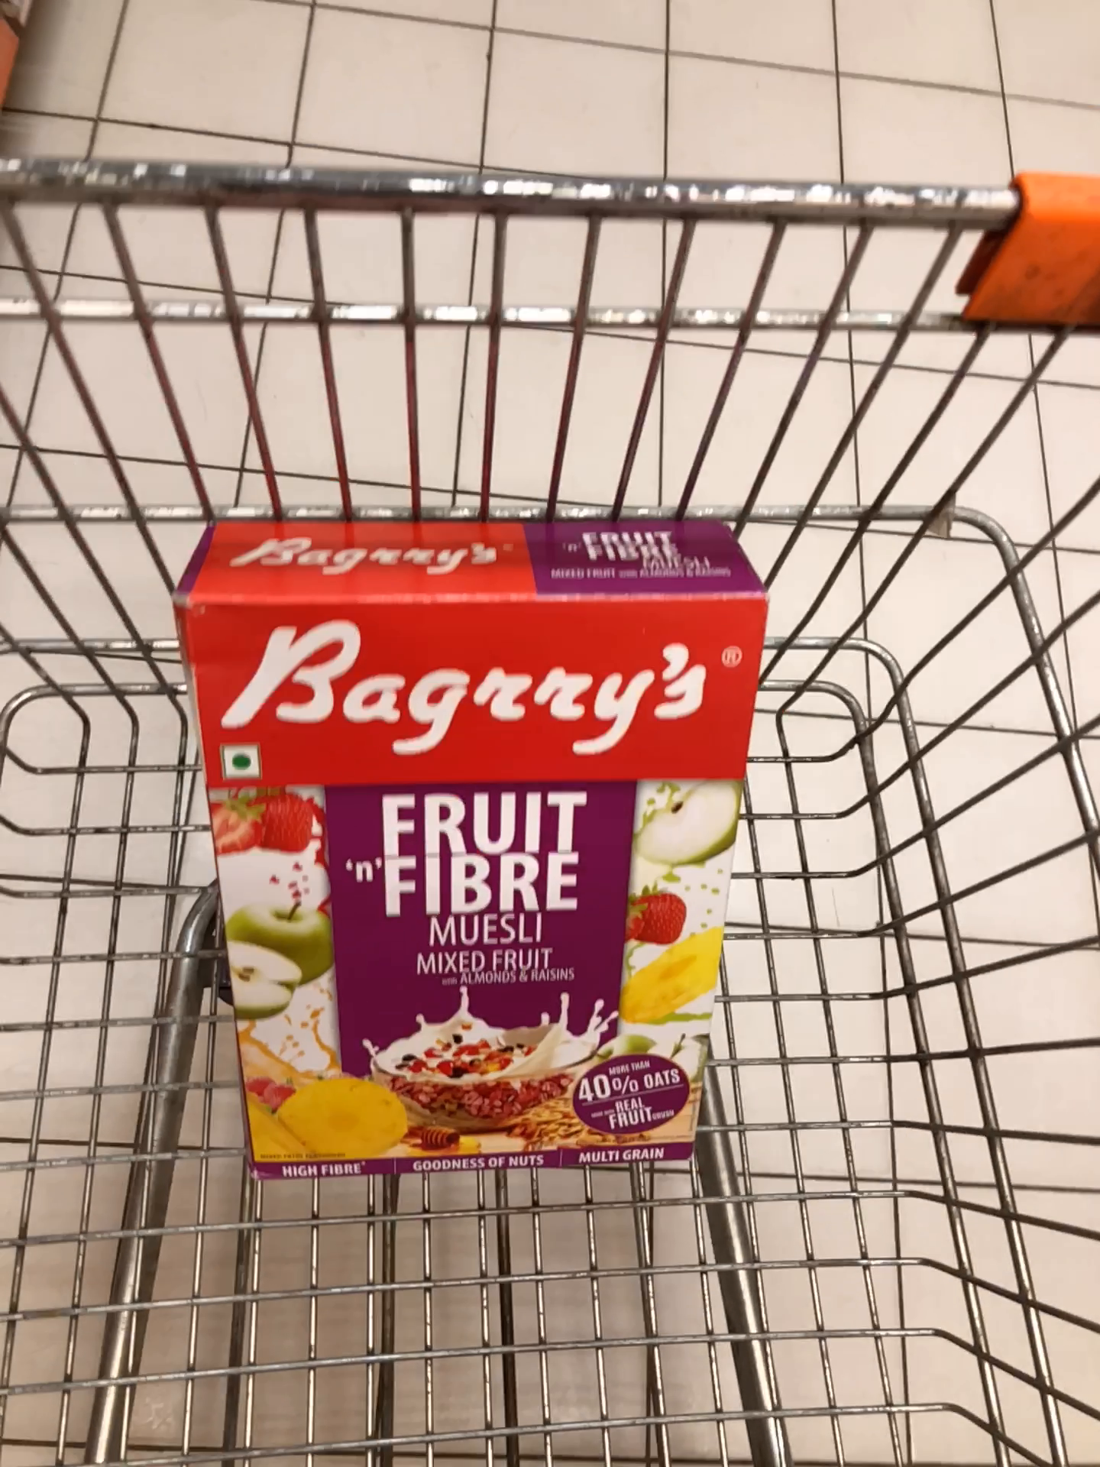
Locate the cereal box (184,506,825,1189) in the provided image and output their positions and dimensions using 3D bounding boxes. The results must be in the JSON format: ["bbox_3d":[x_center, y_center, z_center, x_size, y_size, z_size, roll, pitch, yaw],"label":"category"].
[{"bbox_3d":[-0.019,0.048,0.448,0.190,0.249,0.070,-1,29,-6],"label":"cereal box"}]
